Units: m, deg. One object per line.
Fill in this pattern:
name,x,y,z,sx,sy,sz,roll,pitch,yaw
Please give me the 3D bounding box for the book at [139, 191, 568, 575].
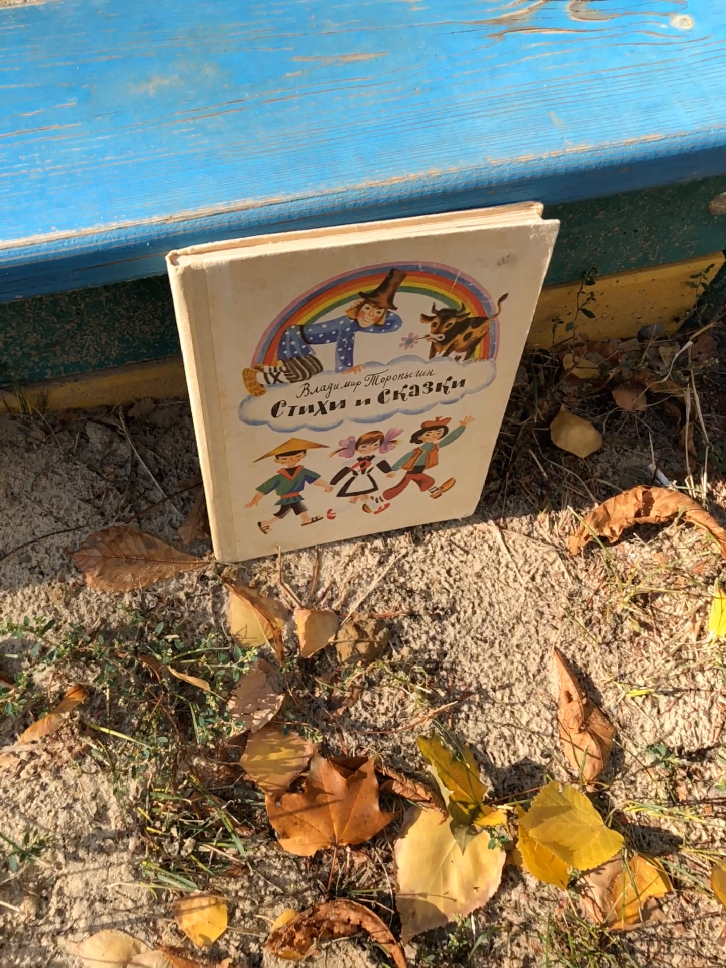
book,-0.004,-0.038,0.415,0.178,0.213,0.024,-10,51,-10
